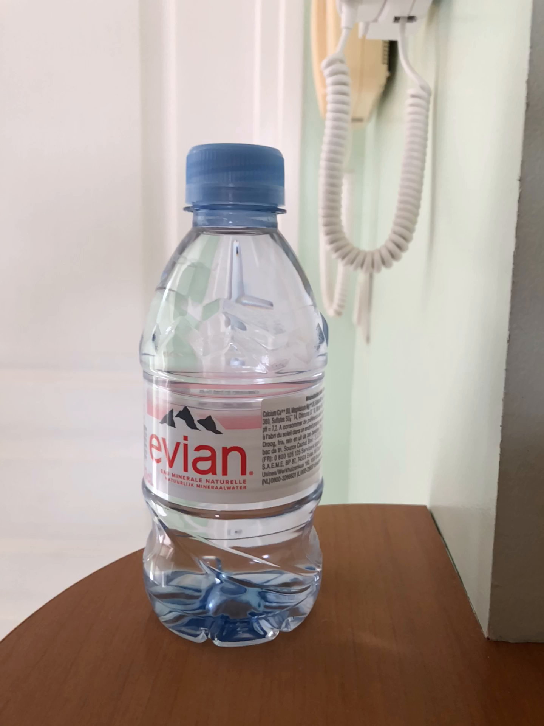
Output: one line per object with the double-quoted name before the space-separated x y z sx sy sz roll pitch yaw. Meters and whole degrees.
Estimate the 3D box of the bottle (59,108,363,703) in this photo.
"bottle" -0.016 0.009 0.205 0.070 0.160 0.070 1 9 0
